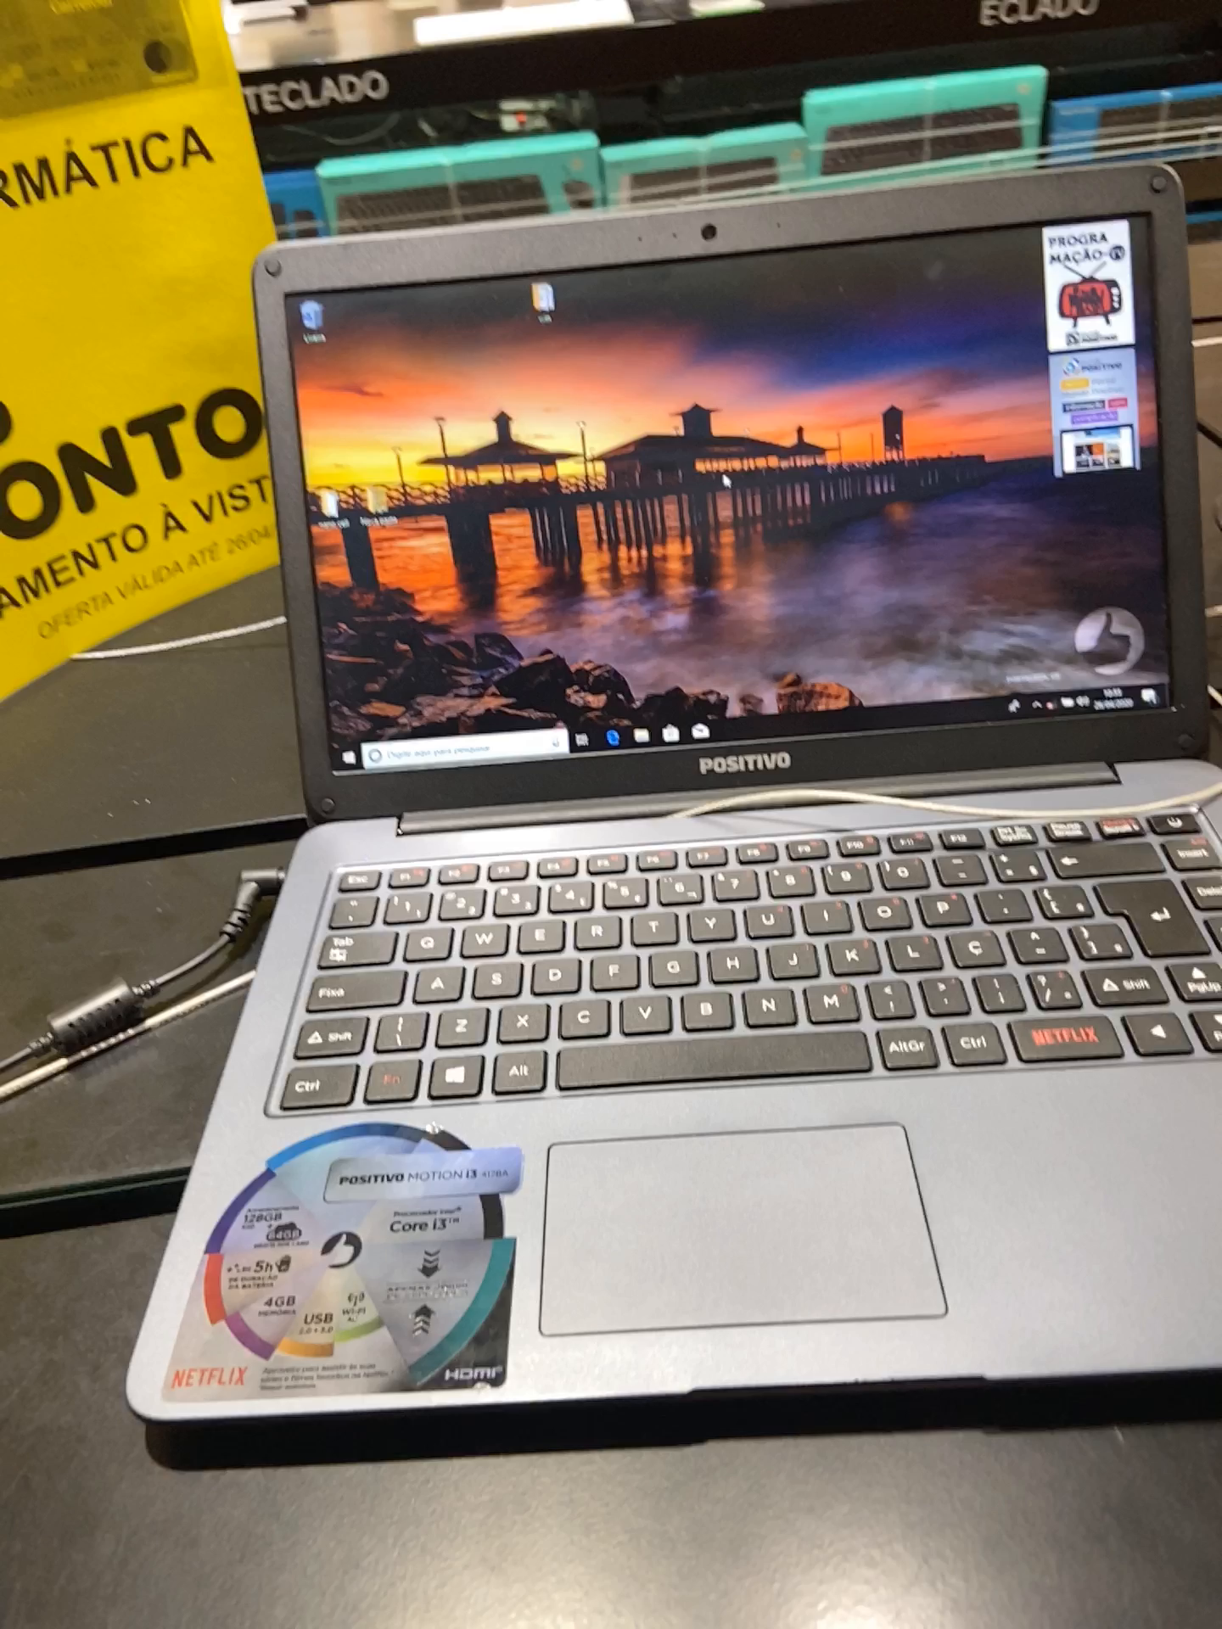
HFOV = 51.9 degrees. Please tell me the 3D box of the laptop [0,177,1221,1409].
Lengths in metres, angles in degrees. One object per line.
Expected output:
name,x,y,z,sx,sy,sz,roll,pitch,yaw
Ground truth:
laptop,0.045,-0.043,0.372,0.331,0.172,0.343,-4,37,3
